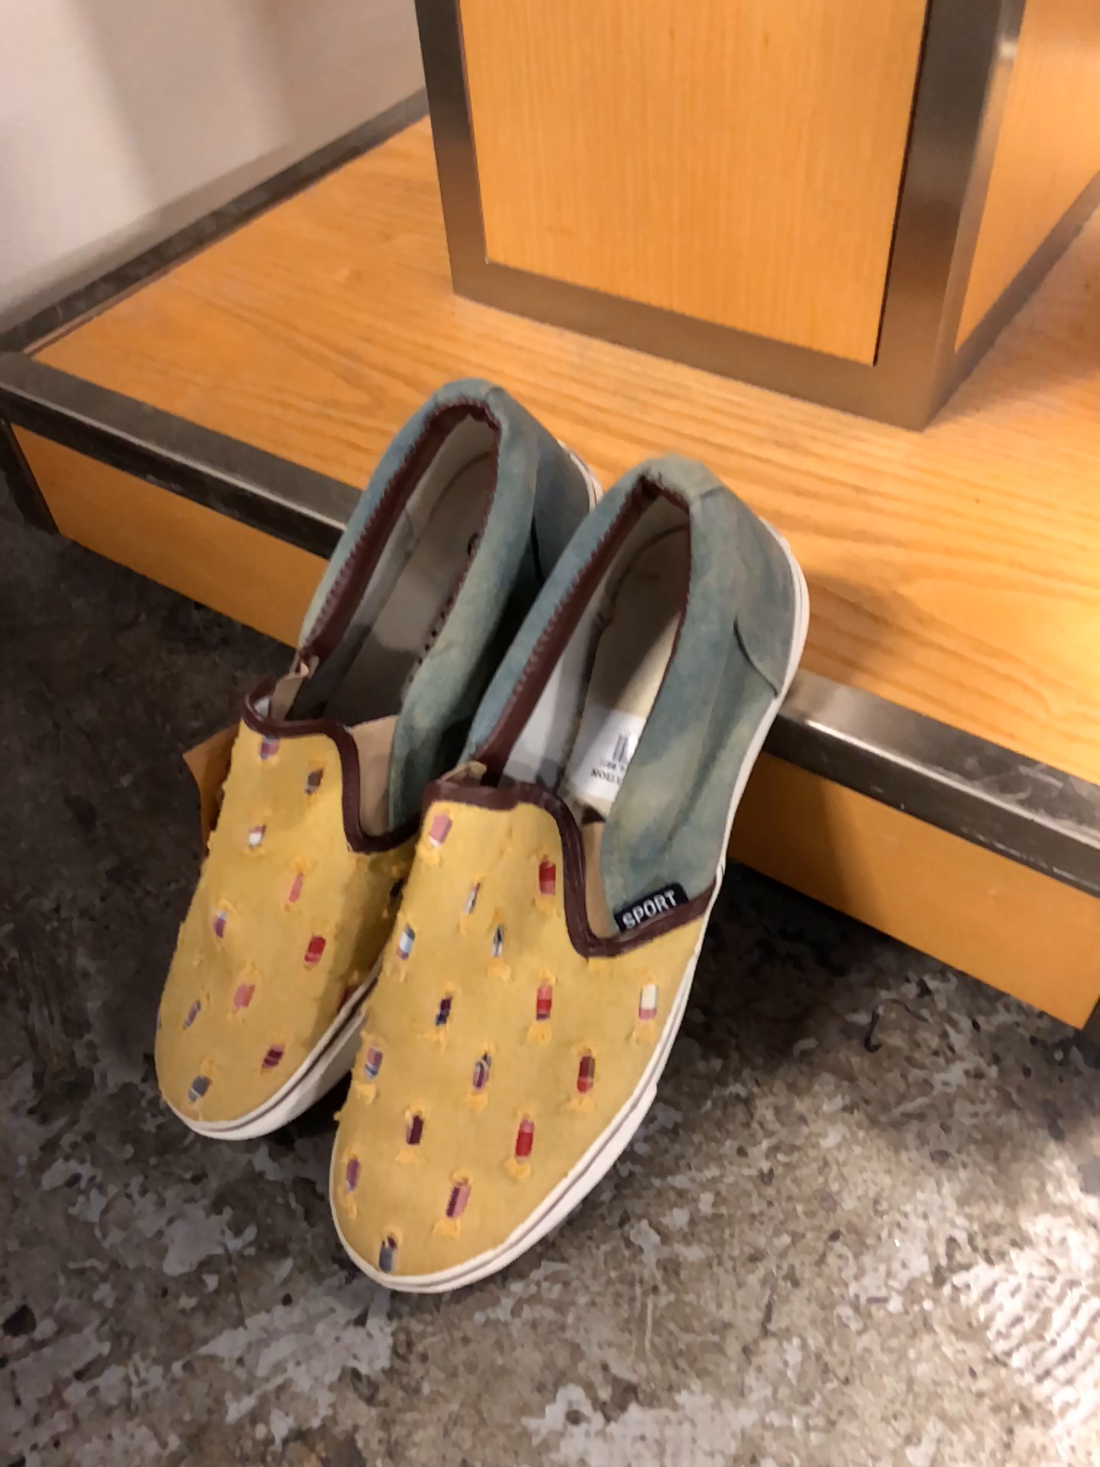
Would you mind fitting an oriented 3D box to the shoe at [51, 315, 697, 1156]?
[{"bbox_3d":[-0.064,0.004,0.443,0.090,0.259,0.120,31,13,29],"label":"shoe"}]

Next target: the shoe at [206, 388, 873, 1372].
[{"bbox_3d":[-0.005,0.046,0.402,0.090,0.279,0.100,27,12,32],"label":"shoe"}]
